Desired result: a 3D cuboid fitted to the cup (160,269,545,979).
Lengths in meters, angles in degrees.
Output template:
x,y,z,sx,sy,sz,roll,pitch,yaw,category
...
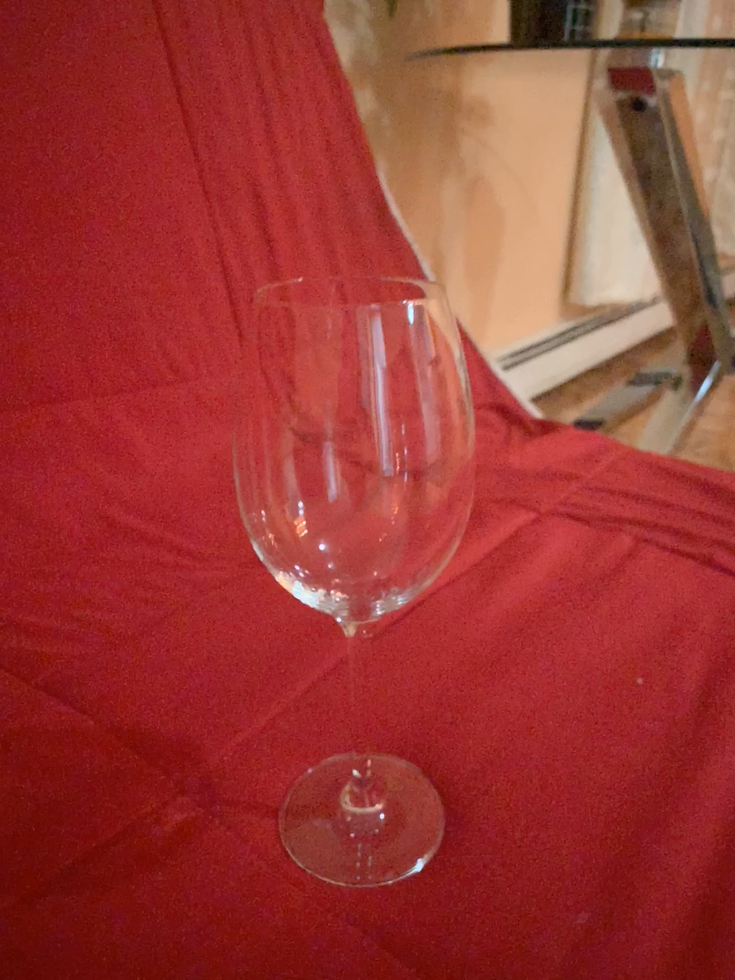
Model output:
x,y,z,sx,sy,sz,roll,pitch,yaw,category
-0.005,0.051,0.299,0.083,0.246,0.094,21,31,35,cup
